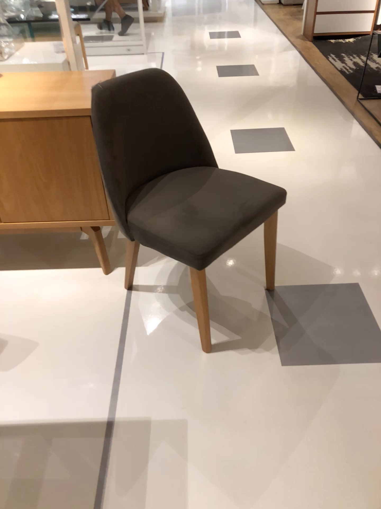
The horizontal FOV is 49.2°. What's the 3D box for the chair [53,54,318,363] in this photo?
[{"bbox_3d":[0.005,-0.184,1.448,0.562,0.774,0.533,27,48,33],"label":"chair"}]
